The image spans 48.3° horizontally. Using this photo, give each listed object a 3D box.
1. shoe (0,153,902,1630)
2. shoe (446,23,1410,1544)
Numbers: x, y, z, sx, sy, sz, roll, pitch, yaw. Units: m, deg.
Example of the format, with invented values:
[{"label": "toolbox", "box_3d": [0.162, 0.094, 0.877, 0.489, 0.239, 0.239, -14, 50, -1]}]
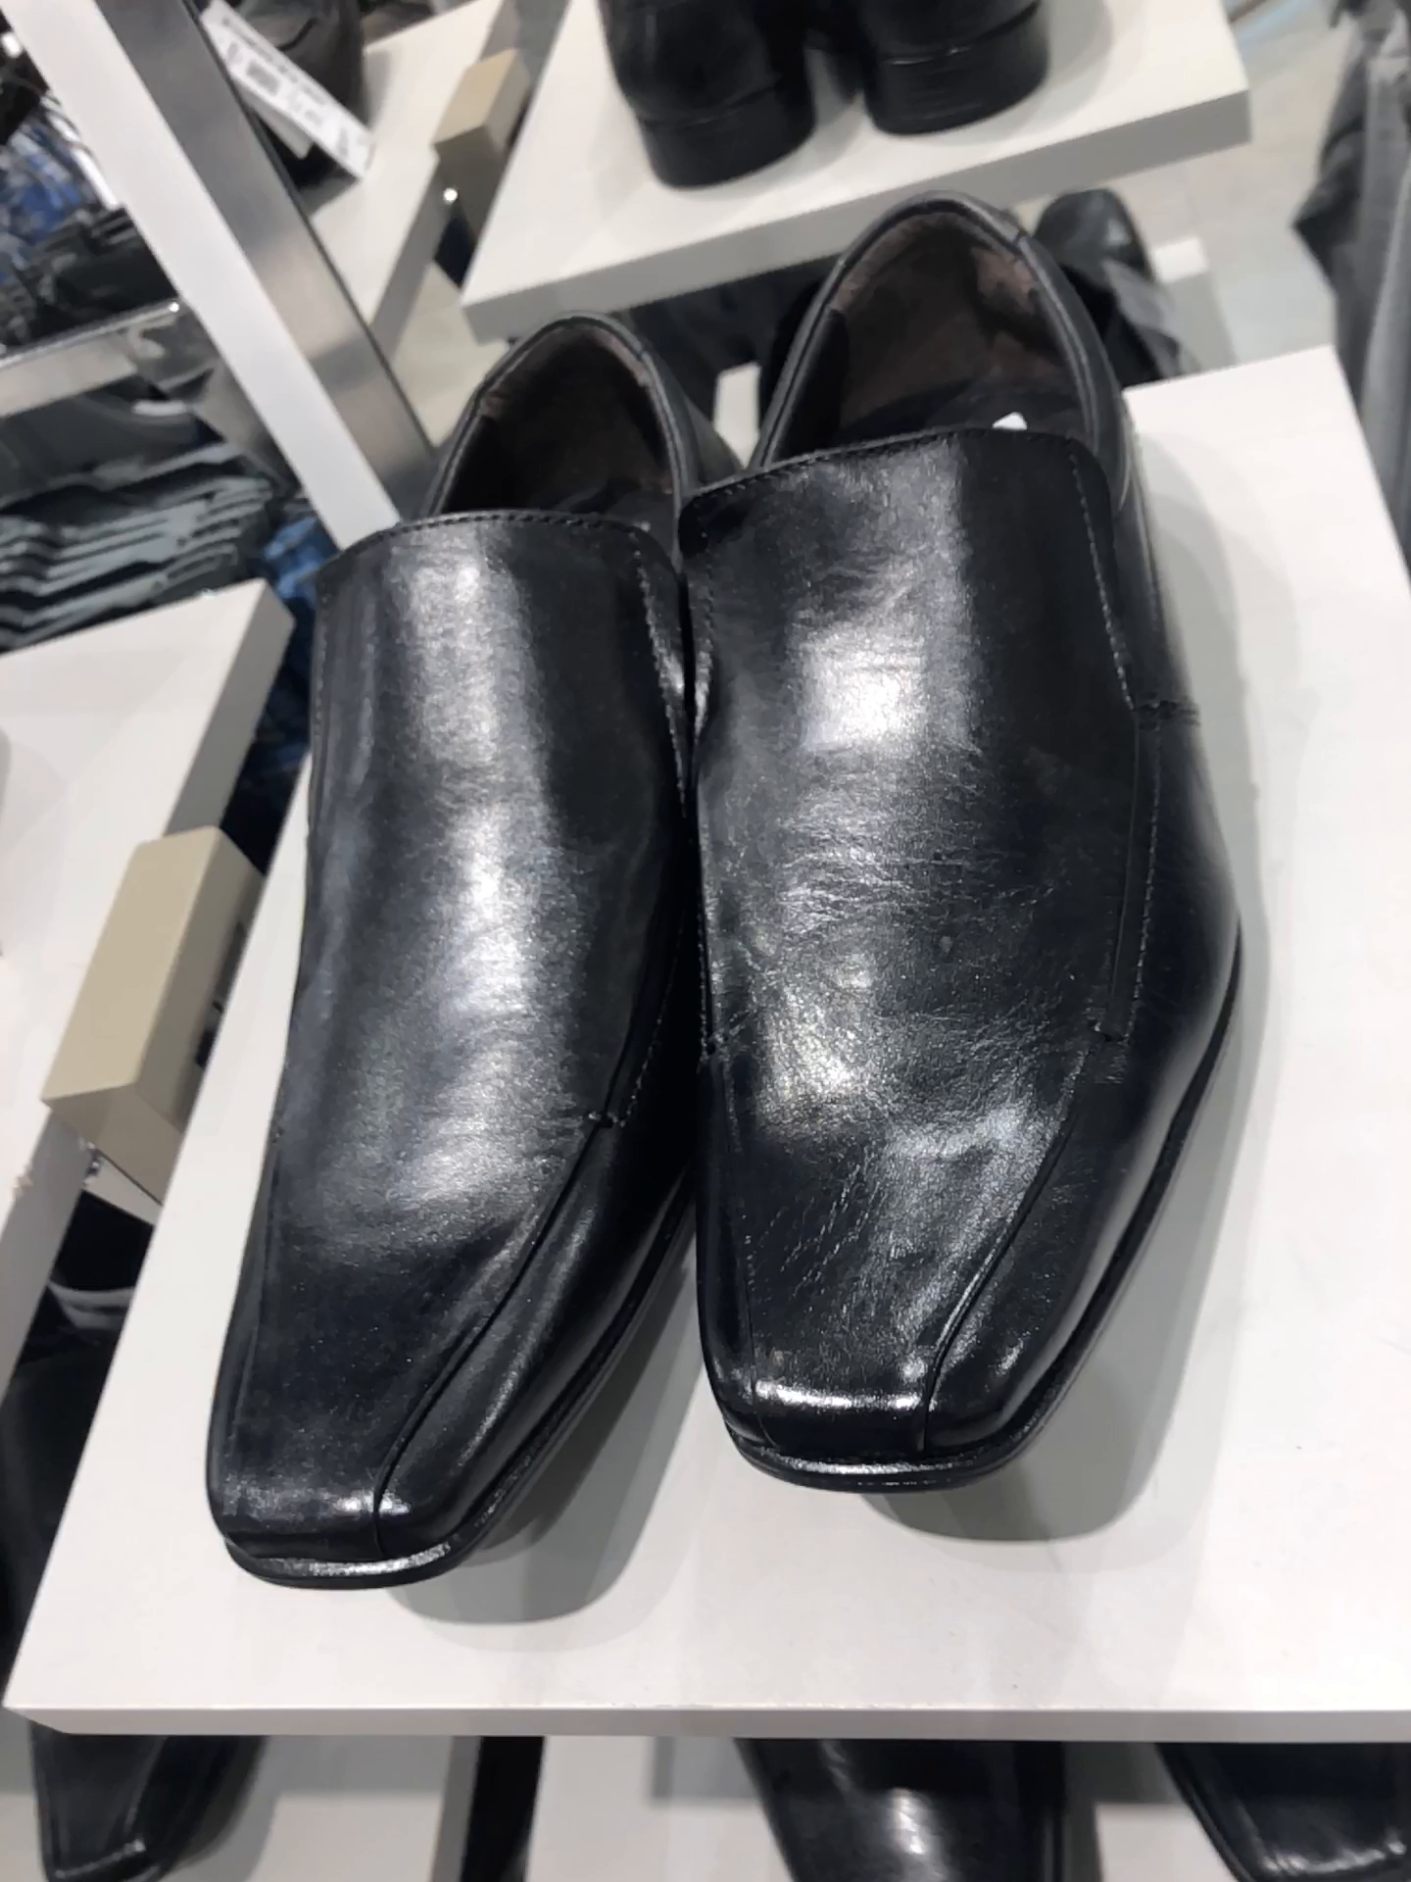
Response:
[{"label": "shoe", "box_3d": [-0.032, -0.030, 0.330, 0.110, 0.099, 0.301, -7, 49, 20]}, {"label": "shoe", "box_3d": [0.053, -0.046, 0.298, 0.110, 0.099, 0.281, -7, 49, 20]}]
